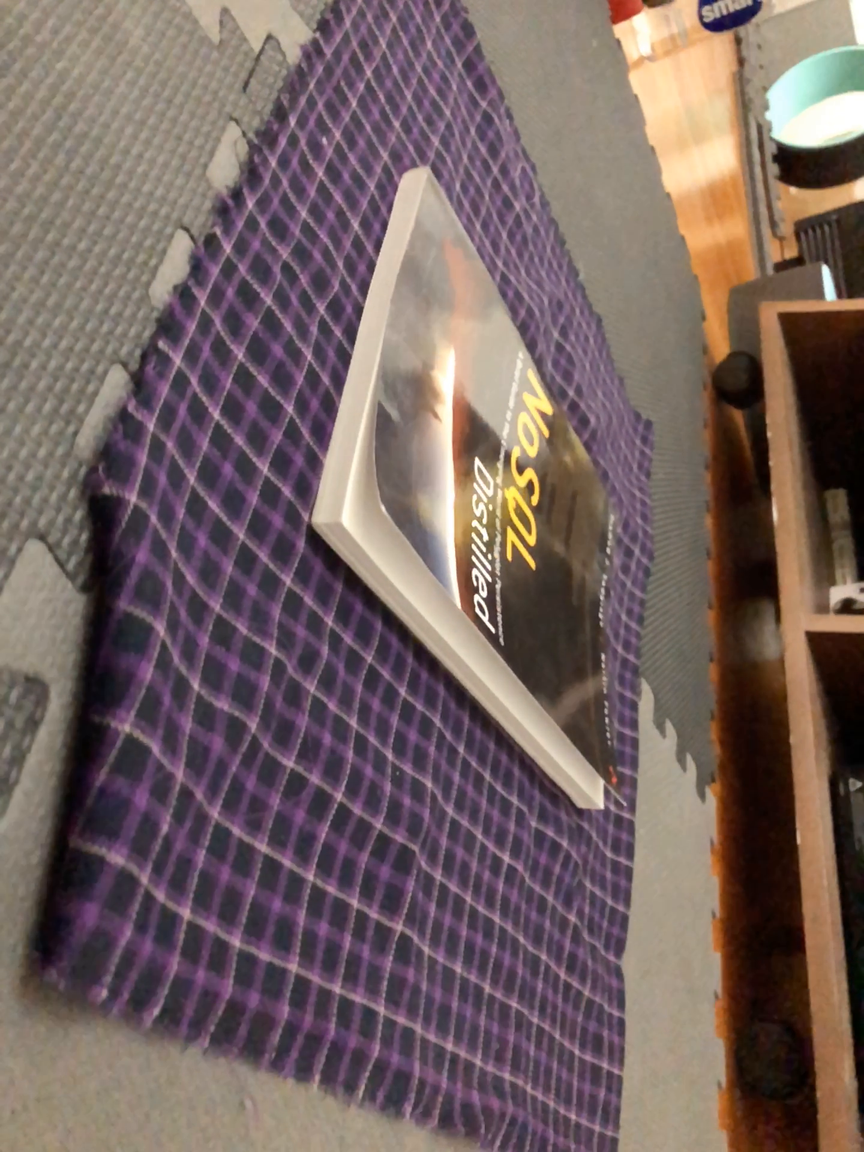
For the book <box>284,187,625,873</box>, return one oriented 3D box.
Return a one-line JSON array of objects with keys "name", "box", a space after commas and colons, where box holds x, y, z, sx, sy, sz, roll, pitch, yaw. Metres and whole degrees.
[{"name": "book", "box": [0.034, -0.005, 0.418, 0.251, 0.020, 0.191, 50, 39, -45]}]
